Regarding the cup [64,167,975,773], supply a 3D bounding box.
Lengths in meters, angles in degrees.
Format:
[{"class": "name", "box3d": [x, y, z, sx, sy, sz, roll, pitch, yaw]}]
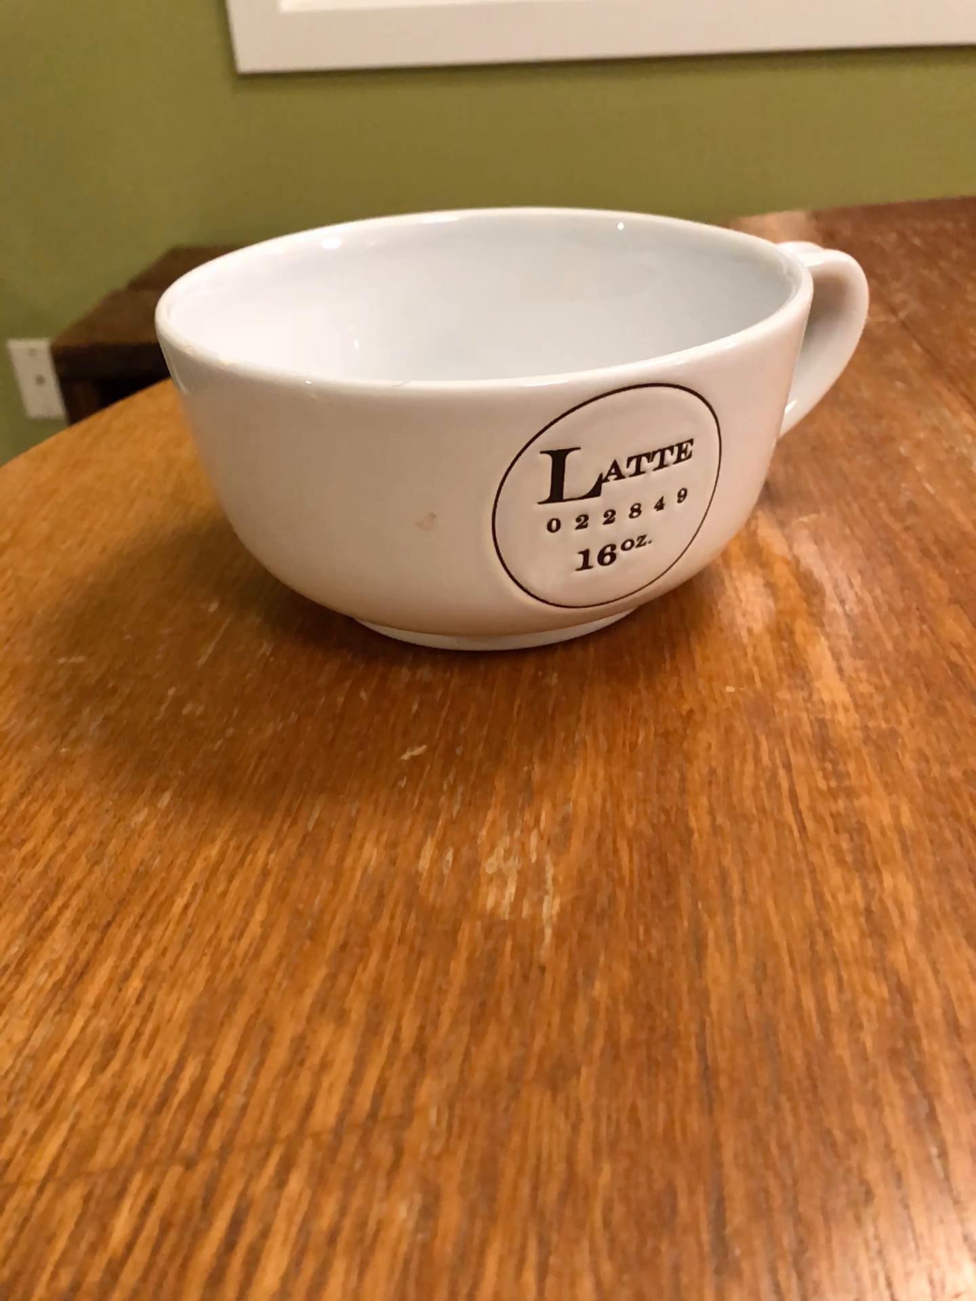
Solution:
[{"class": "cup", "box3d": [0.018, -0.063, 0.254, 0.180, 0.055, 0.139, -23, 37, -27]}]
